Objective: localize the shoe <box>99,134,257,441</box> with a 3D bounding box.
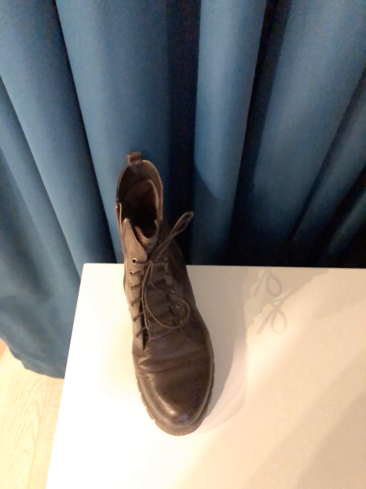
[{"bbox_3d":[-0.019,0.042,0.439,0.100,0.169,0.271,-8,56,-6],"label":"shoe"}]
